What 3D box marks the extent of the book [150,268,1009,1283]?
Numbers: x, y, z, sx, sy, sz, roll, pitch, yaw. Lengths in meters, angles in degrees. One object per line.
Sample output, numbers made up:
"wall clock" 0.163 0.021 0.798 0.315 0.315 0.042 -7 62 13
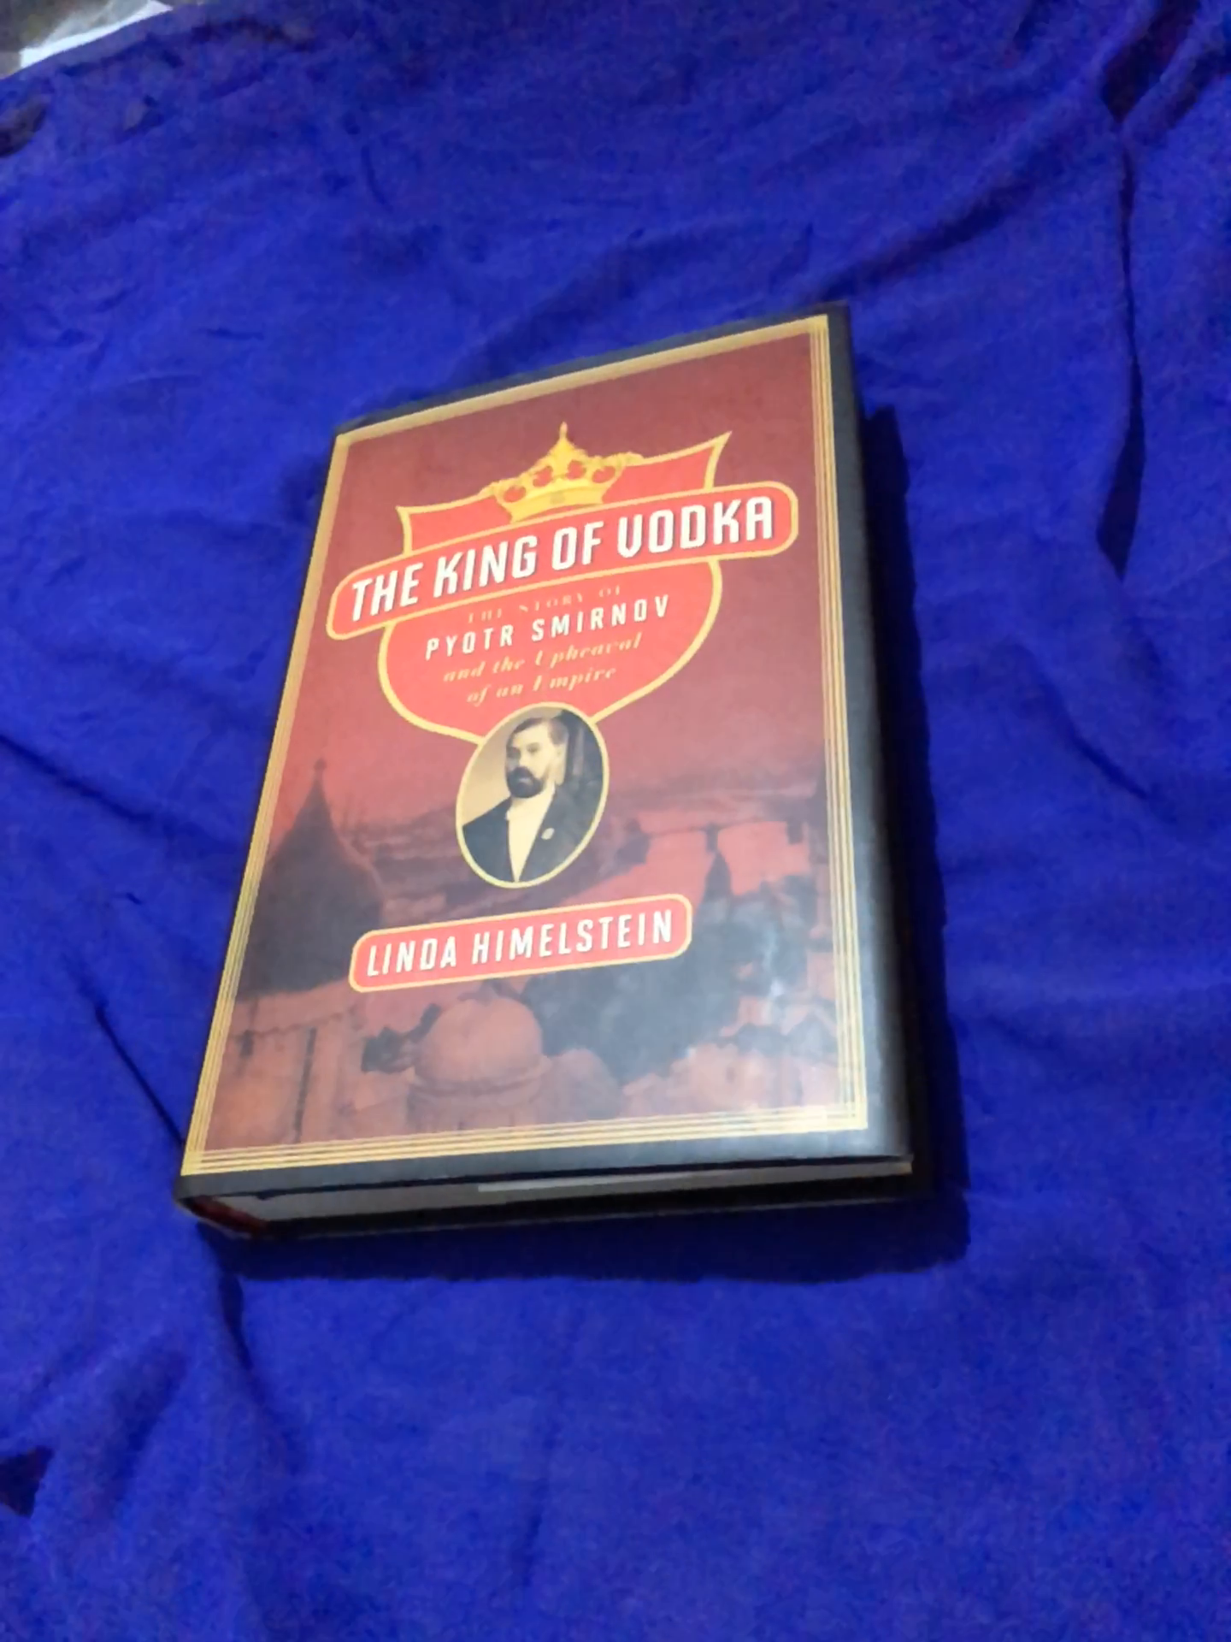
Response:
"book" -0.005 -0.020 0.351 0.170 0.050 0.250 -9 56 17
